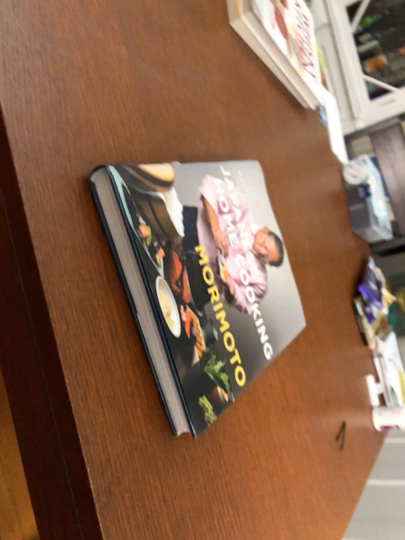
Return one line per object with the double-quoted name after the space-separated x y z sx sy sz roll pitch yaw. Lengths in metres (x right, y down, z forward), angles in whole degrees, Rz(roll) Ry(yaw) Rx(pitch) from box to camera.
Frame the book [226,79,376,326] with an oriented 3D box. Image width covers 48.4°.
0.132 -0.053 0.540 0.302 0.030 0.220 15 65 -54 "book"
